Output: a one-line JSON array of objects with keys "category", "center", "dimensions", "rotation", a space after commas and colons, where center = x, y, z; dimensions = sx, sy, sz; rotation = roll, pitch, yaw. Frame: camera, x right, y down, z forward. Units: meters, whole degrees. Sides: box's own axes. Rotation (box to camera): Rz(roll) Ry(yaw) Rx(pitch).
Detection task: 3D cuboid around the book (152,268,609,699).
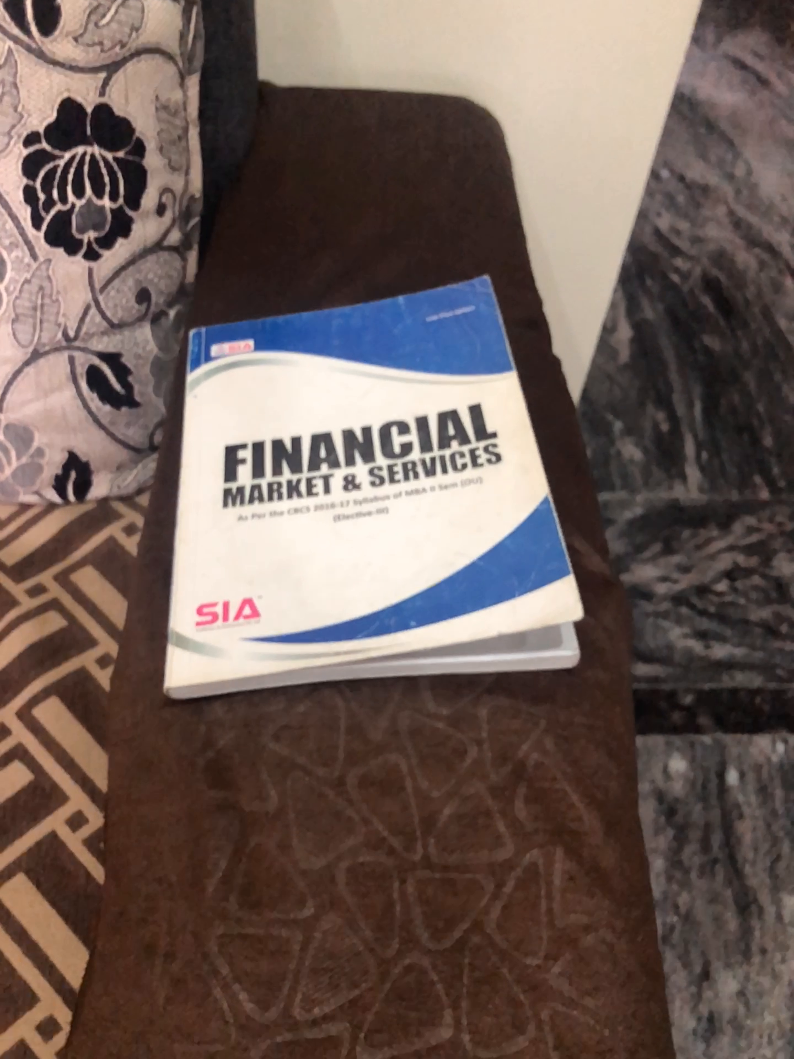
[{"category": "book", "center": [-0.025, -0.051, 0.534], "dimensions": [0.220, 0.040, 0.301], "rotation": [-4, 50, -7]}]
